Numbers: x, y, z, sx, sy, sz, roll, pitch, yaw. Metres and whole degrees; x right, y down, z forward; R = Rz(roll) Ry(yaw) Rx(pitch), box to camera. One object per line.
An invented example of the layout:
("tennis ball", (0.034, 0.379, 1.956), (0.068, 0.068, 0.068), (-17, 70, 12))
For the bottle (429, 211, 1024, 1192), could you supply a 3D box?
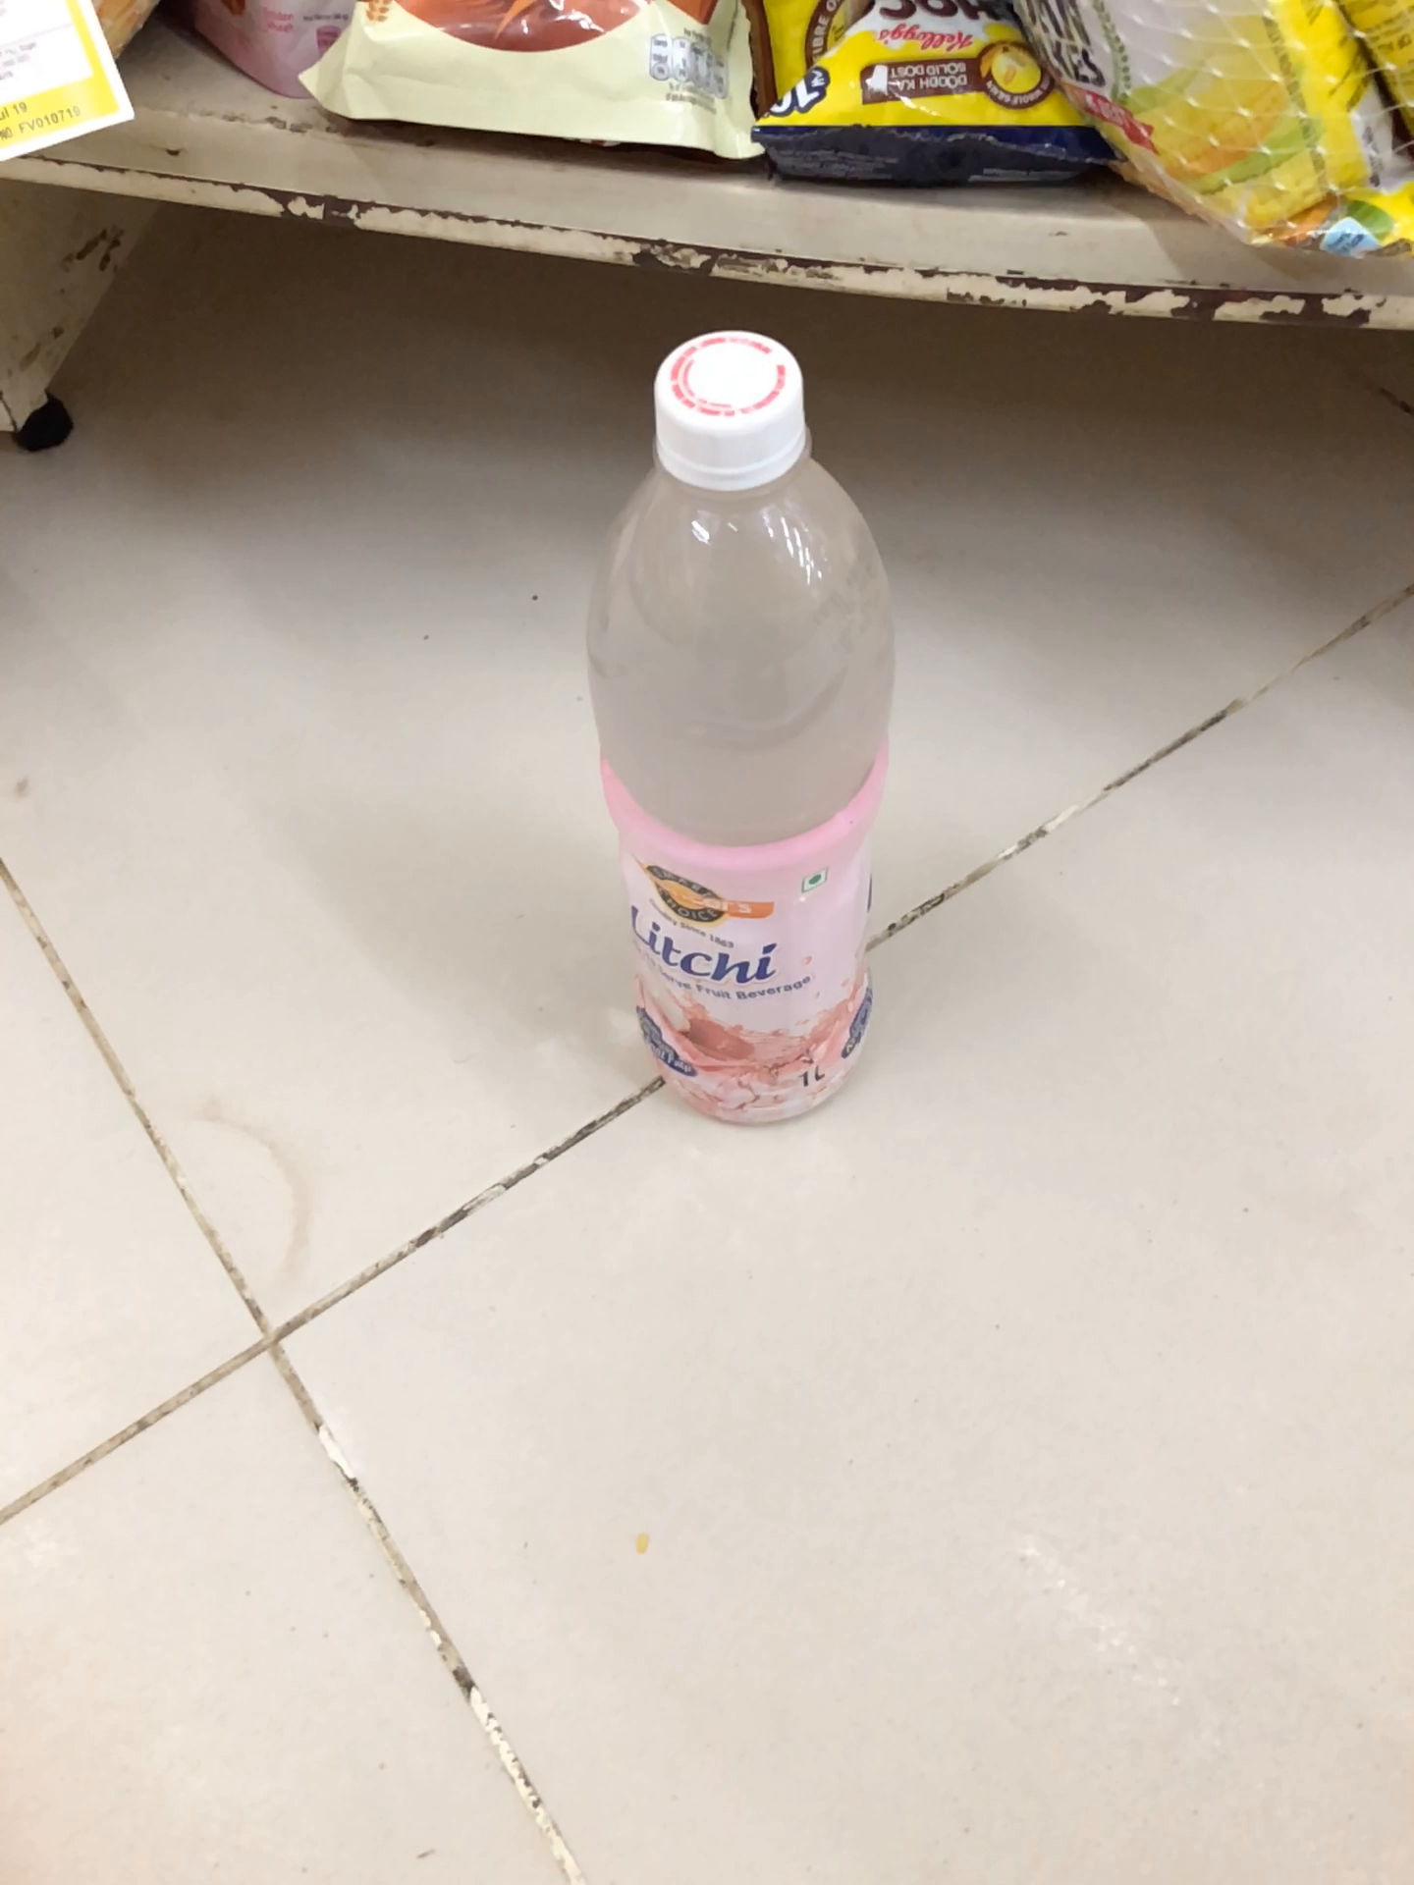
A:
("bottle", (0.010, -0.036, 0.381), (0.080, 0.239, 0.080), (-1, 58, 2))
